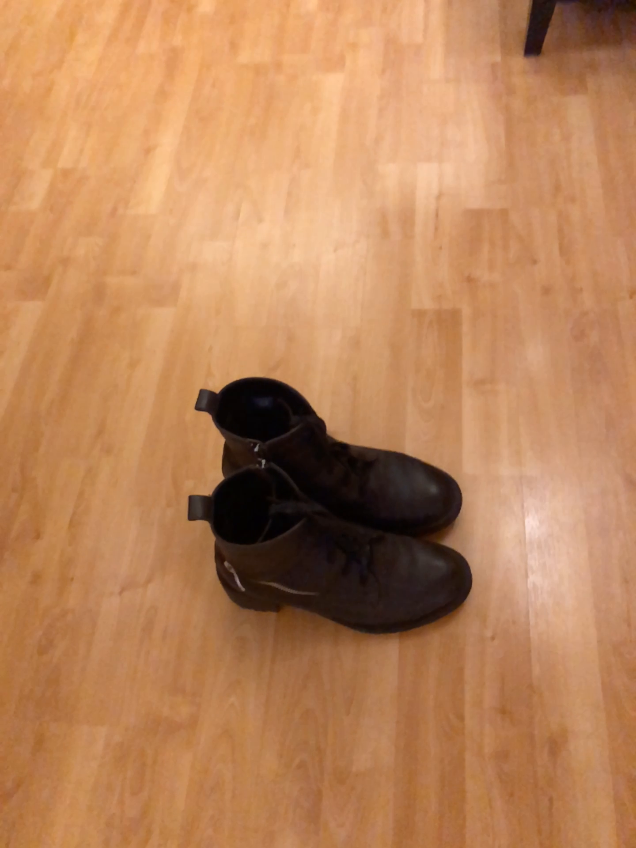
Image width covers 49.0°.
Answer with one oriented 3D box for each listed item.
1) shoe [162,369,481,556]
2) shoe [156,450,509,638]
[{"bbox_3d":[0.012,0.043,0.690,0.270,0.180,0.110,1,60,7],"label":"shoe"},{"bbox_3d":[0.019,0.118,0.637,0.270,0.180,0.110,-2,60,6],"label":"shoe"}]
